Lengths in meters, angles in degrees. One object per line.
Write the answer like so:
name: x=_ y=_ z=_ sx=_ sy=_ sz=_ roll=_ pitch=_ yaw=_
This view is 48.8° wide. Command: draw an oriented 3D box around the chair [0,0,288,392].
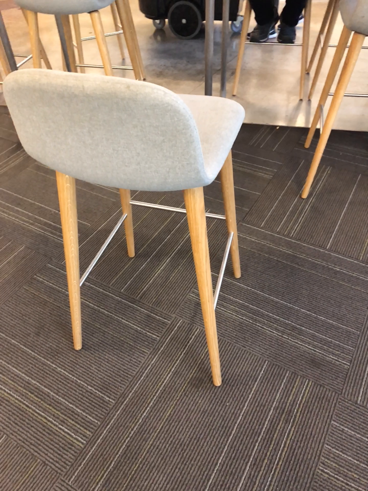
chair: x=-0.087 y=-0.143 z=1.150 sx=0.570 sy=0.946 sz=0.562 roll=9 pitch=44 yaw=13
